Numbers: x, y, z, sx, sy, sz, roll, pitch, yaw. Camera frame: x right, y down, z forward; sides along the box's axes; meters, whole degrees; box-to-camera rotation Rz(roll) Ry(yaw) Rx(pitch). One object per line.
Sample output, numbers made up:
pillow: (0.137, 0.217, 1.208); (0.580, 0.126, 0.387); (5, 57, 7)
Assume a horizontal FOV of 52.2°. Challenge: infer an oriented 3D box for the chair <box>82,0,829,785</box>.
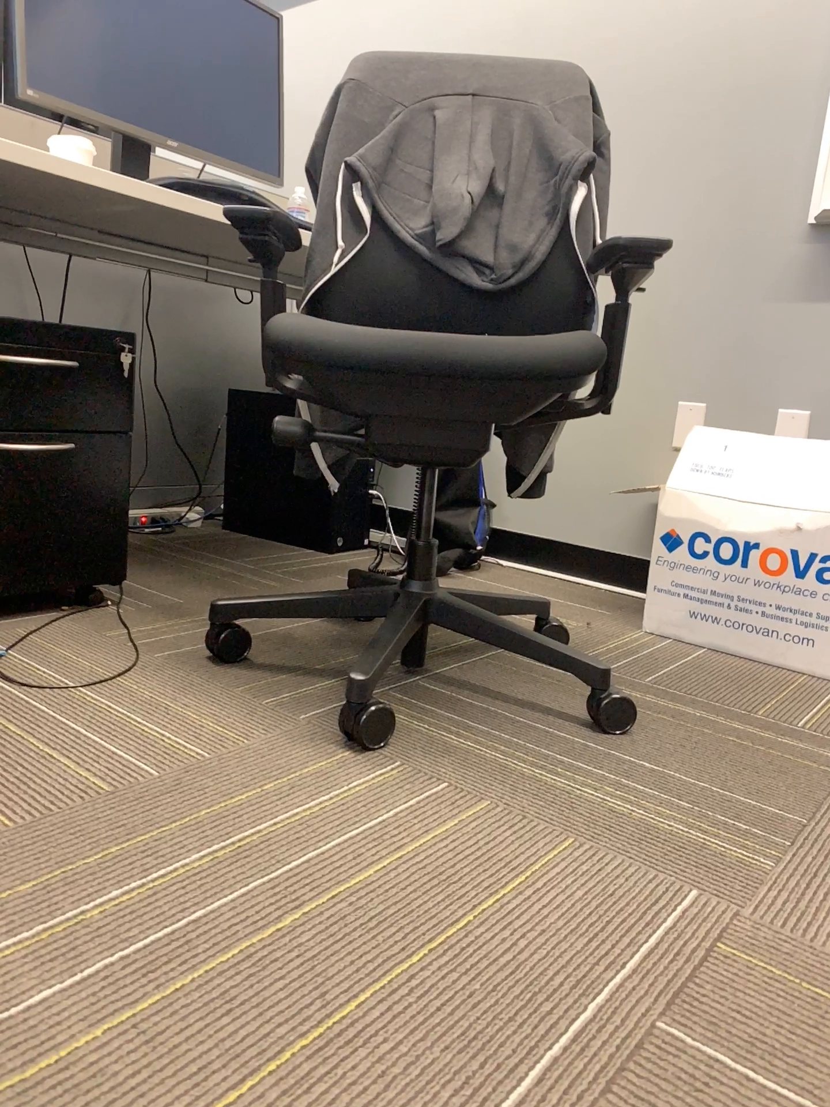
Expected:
chair: (0.031, -0.364, 1.405); (0.750, 1.077, 0.882); (6, 10, 3)
